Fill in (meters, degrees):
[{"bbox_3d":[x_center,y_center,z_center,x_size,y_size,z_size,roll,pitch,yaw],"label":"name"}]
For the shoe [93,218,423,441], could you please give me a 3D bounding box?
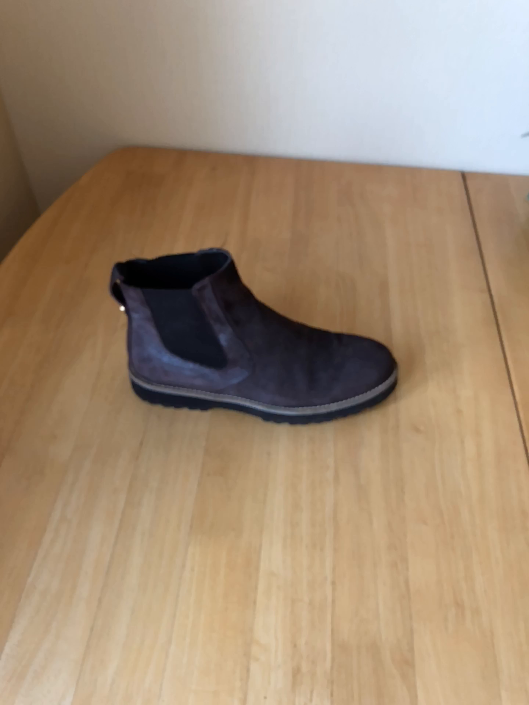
[{"bbox_3d":[-0.001,-0.018,0.471,0.220,0.120,0.100,6,49,4],"label":"shoe"}]
